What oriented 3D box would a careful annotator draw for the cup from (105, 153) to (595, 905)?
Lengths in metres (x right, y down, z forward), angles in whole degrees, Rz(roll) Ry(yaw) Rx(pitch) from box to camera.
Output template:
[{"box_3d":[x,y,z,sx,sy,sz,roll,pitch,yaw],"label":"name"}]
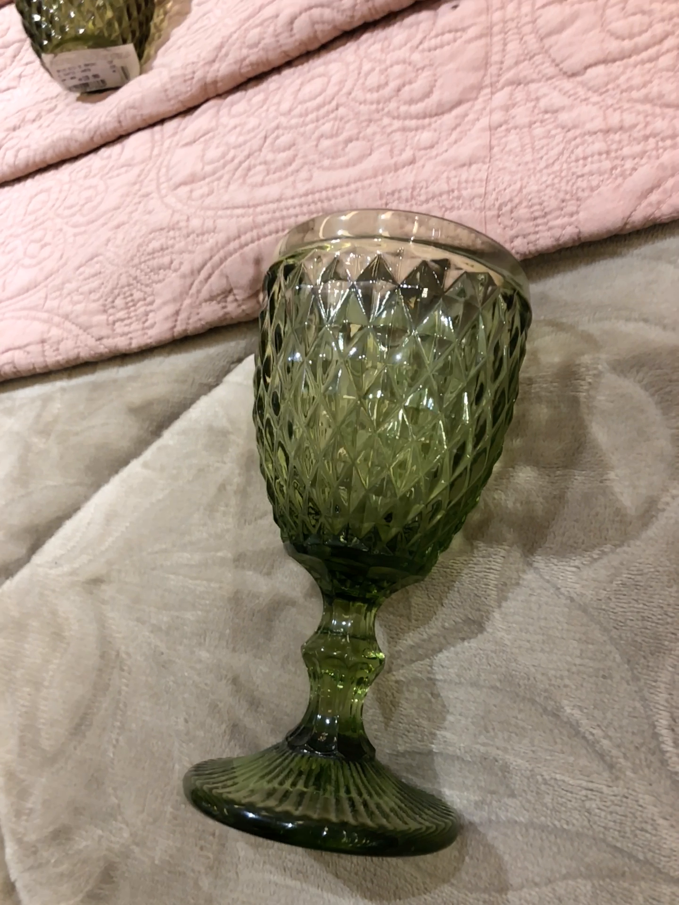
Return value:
[{"box_3d":[0.015,0.021,0.232,0.090,0.080,0.190,1,70,30],"label":"cup"}]
